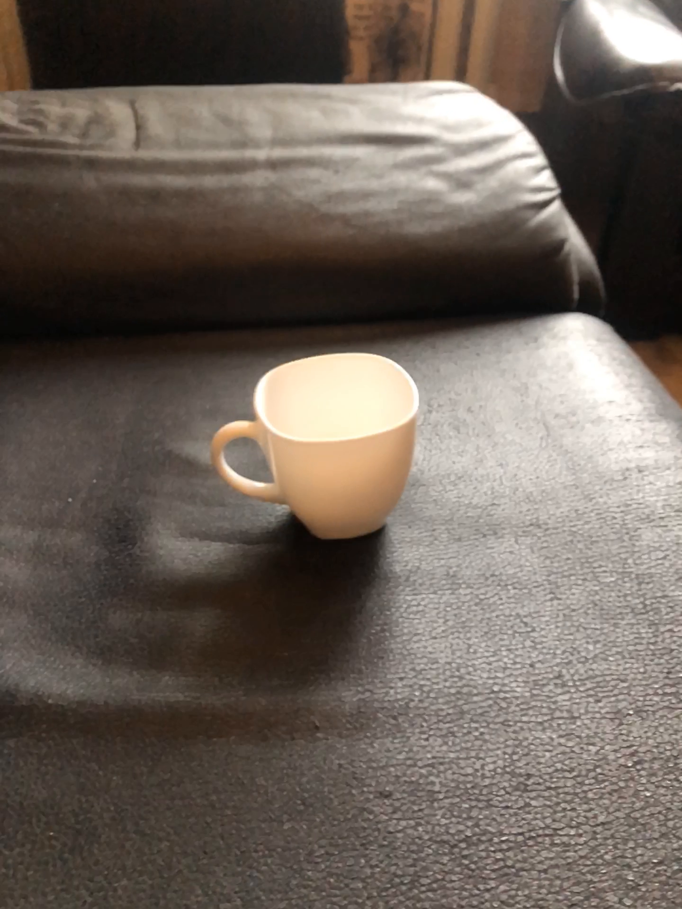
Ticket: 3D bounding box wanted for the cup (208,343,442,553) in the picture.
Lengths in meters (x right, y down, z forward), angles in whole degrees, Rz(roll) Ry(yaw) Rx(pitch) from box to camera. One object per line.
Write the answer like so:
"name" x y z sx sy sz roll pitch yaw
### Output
"cup" -0.010 -0.006 0.377 0.101 0.063 0.081 -4 36 -4
